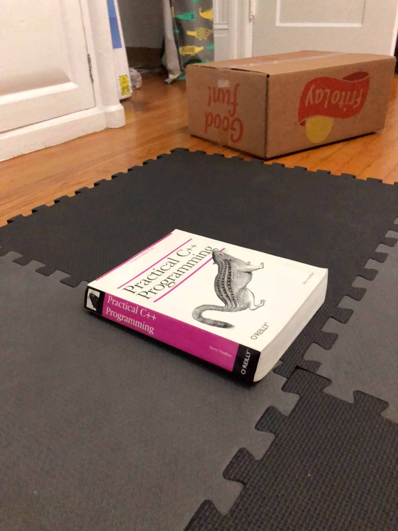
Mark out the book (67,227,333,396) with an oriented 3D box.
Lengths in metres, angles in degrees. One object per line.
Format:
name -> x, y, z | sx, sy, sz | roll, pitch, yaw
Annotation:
book -> 0.006, 0.032, 0.534 | 0.250, 0.050, 0.201 | 17, 29, 29
